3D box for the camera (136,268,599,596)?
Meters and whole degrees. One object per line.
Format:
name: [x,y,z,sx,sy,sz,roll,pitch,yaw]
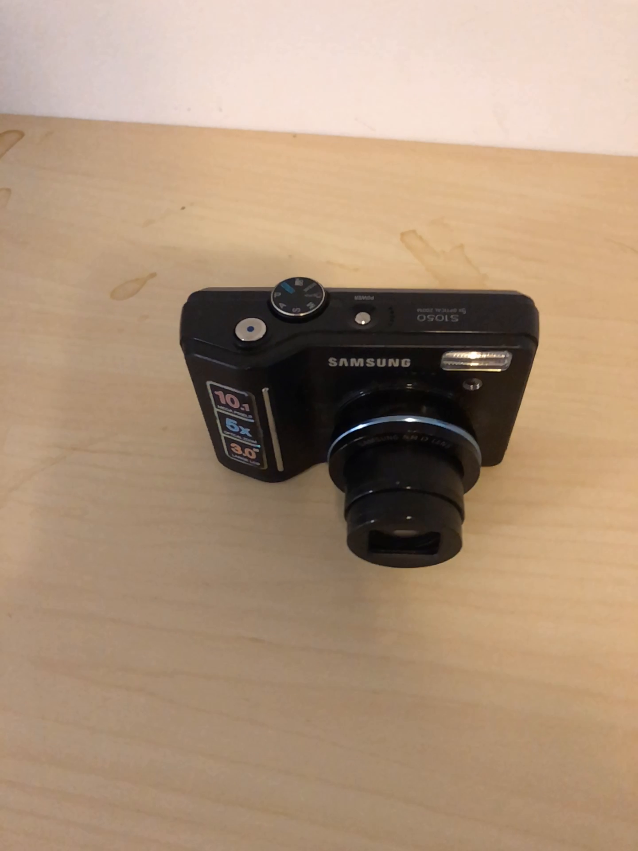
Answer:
camera: [0.015,0.003,0.217,0.110,0.070,0.070,2,57,6]
